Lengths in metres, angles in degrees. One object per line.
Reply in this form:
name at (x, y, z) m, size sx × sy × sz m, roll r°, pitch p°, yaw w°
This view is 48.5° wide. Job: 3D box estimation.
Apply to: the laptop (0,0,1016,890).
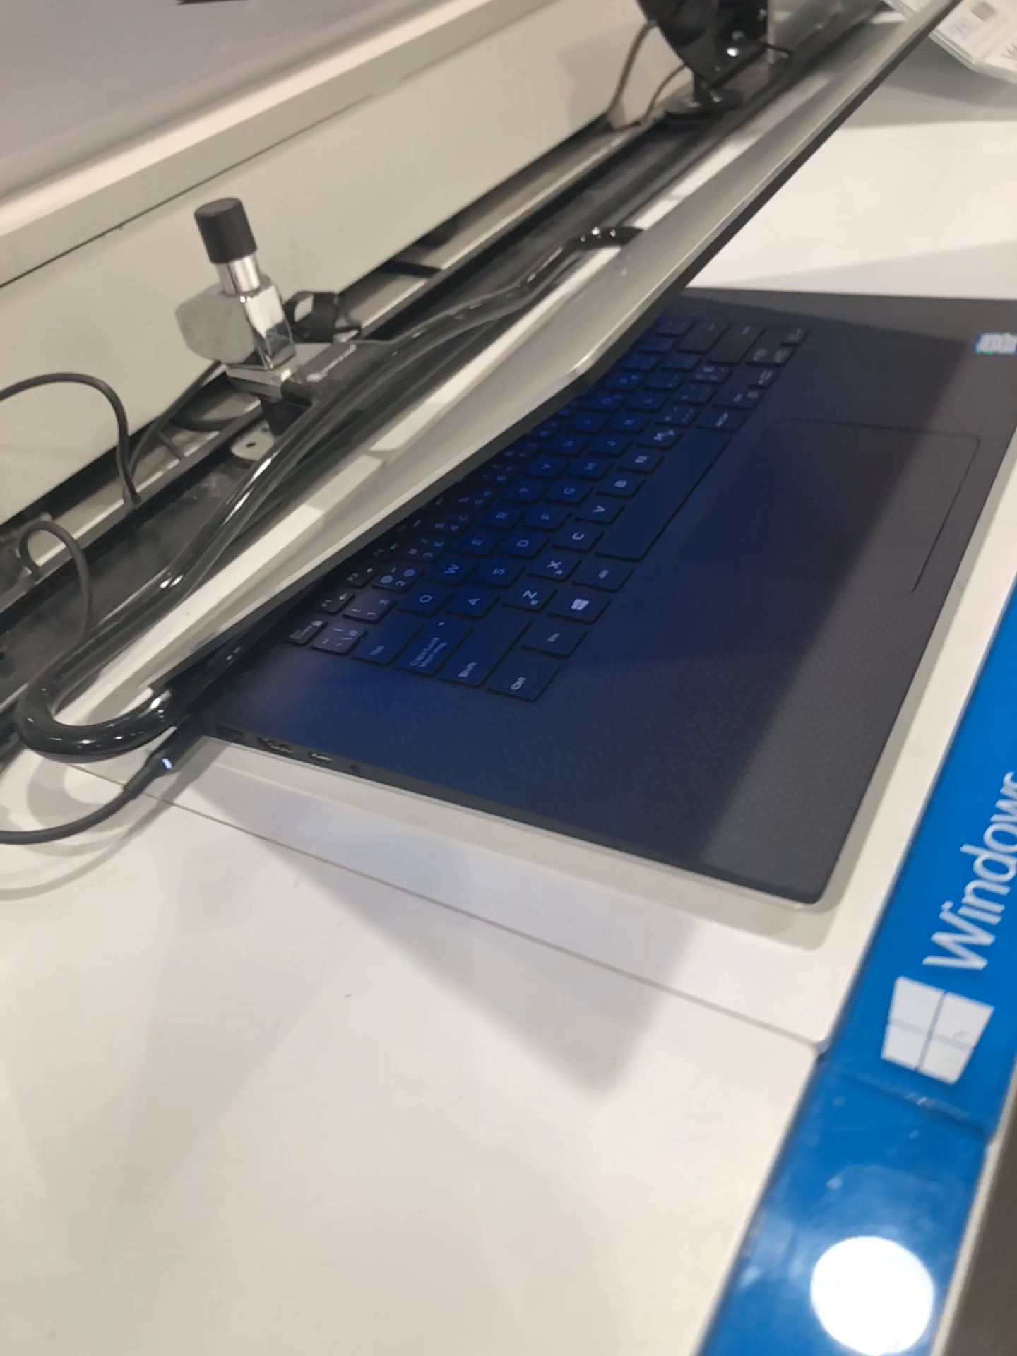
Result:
laptop at (0.050, -0.127, 0.394) m, size 0.217 × 0.133 × 0.346 m, roll 12°, pitch 44°, yaw 27°
